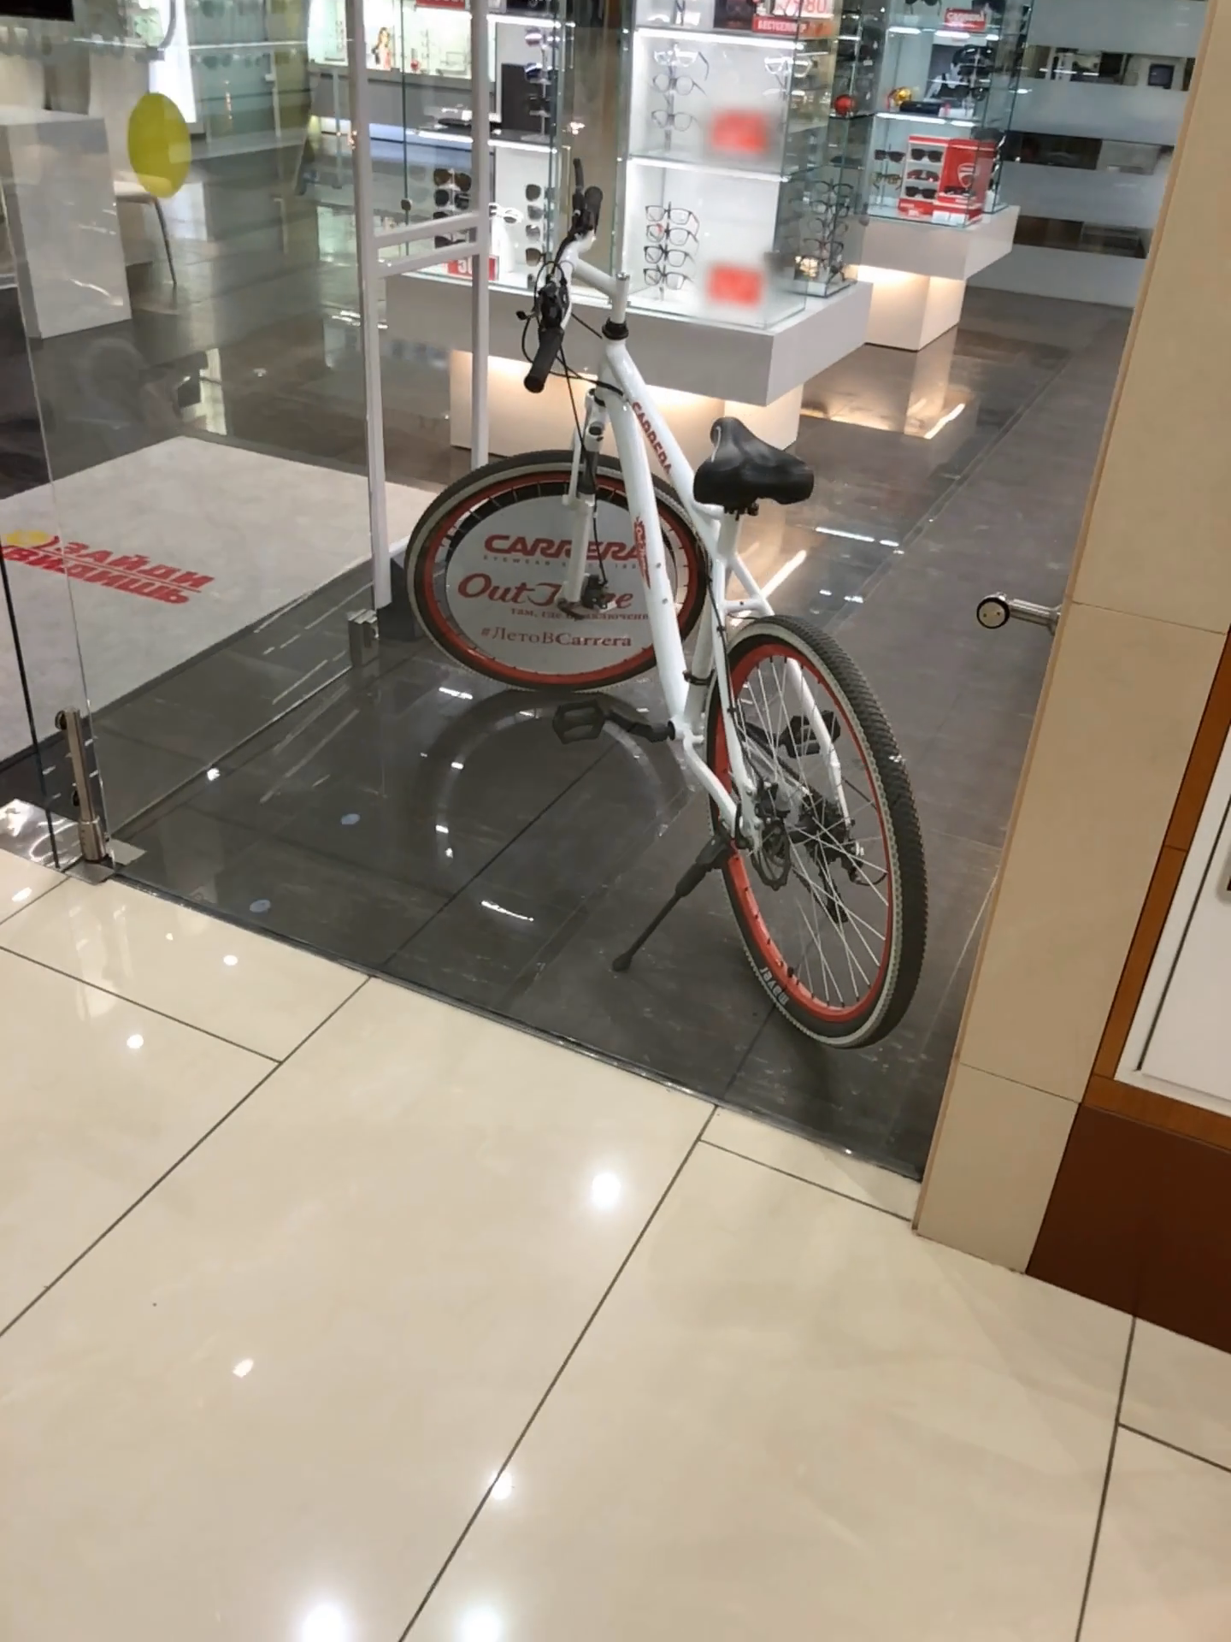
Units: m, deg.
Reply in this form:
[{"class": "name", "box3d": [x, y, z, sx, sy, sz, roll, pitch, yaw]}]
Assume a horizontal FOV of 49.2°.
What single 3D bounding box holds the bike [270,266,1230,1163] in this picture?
[{"class": "bike", "box3d": [0.023, -0.303, 2.113, 0.592, 0.947, 1.386, -15, 32, -28]}]
